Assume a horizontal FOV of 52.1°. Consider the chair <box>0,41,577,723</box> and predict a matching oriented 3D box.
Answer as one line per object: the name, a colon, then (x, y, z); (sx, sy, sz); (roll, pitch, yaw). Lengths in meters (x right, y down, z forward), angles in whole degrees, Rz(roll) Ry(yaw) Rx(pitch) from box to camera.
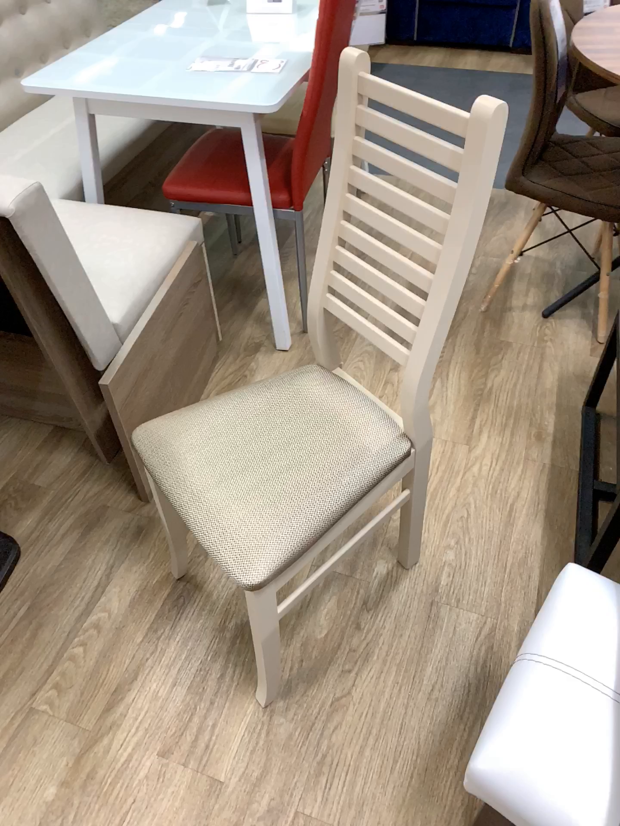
chair: (-0.021, 0.004, 1.111); (0.551, 0.985, 0.441); (-29, 51, -24)
